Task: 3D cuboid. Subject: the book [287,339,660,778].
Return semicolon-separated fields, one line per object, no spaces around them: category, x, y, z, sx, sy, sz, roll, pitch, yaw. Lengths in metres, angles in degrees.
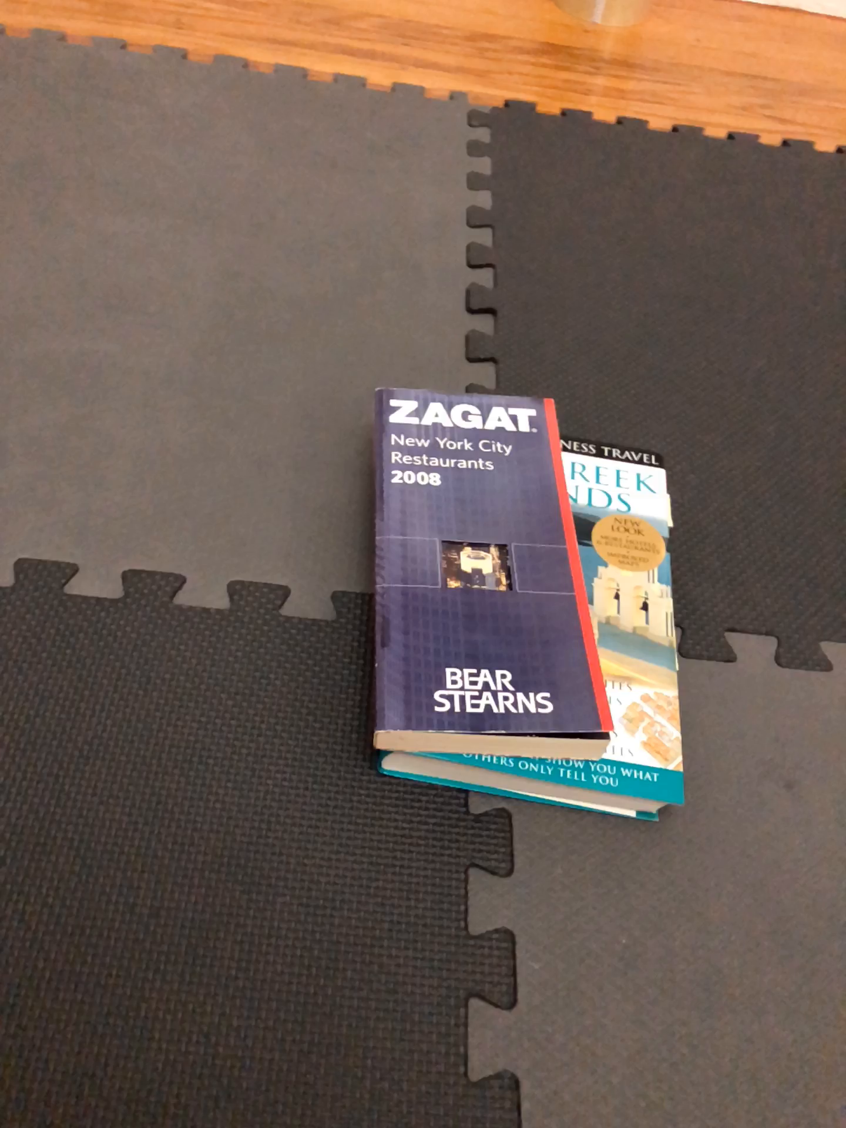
book;0.017;-0.017;0.455;0.150;0.020;0.251;3;51;-7

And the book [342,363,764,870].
book;0.067;0.007;0.467;0.170;0.030;0.261;10;51;-1
